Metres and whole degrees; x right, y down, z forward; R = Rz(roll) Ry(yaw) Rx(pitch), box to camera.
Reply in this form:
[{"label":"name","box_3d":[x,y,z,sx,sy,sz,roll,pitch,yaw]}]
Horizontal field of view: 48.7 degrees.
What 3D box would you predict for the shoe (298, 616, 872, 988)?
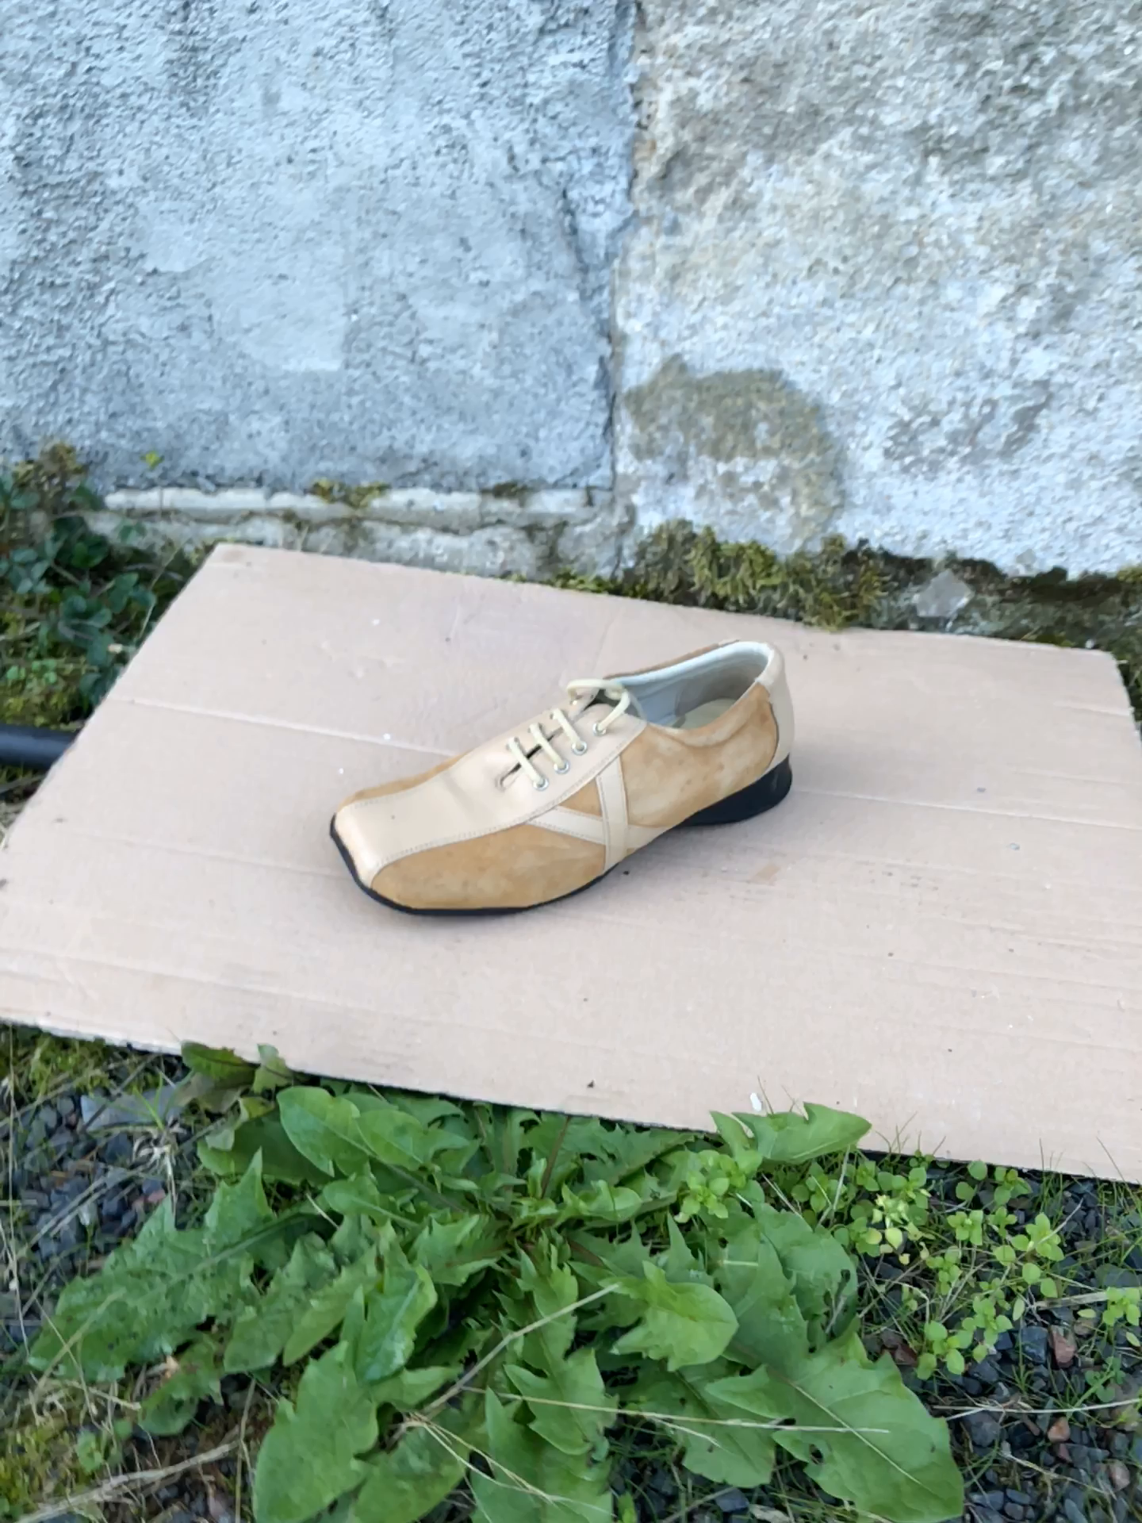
[{"label":"shoe","box_3d":[0.010,0.013,0.653,0.271,0.080,0.100,-16,38,-18]}]
